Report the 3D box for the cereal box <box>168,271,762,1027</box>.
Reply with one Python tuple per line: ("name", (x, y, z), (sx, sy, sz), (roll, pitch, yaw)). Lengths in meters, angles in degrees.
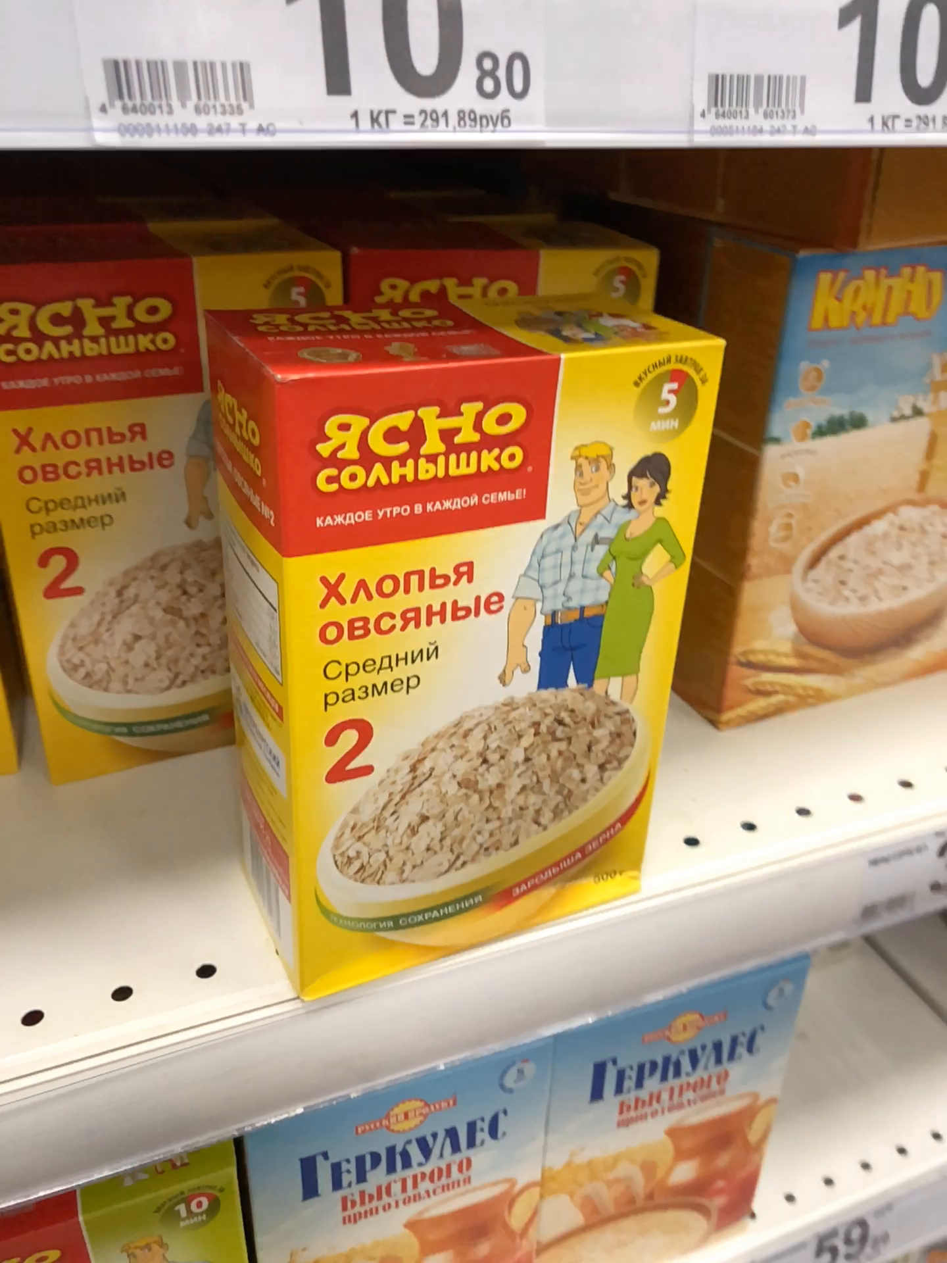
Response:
("cereal box", (-0.006, 0.003, 0.306), (0.130, 0.189, 0.070), (-10, 31, -21))
